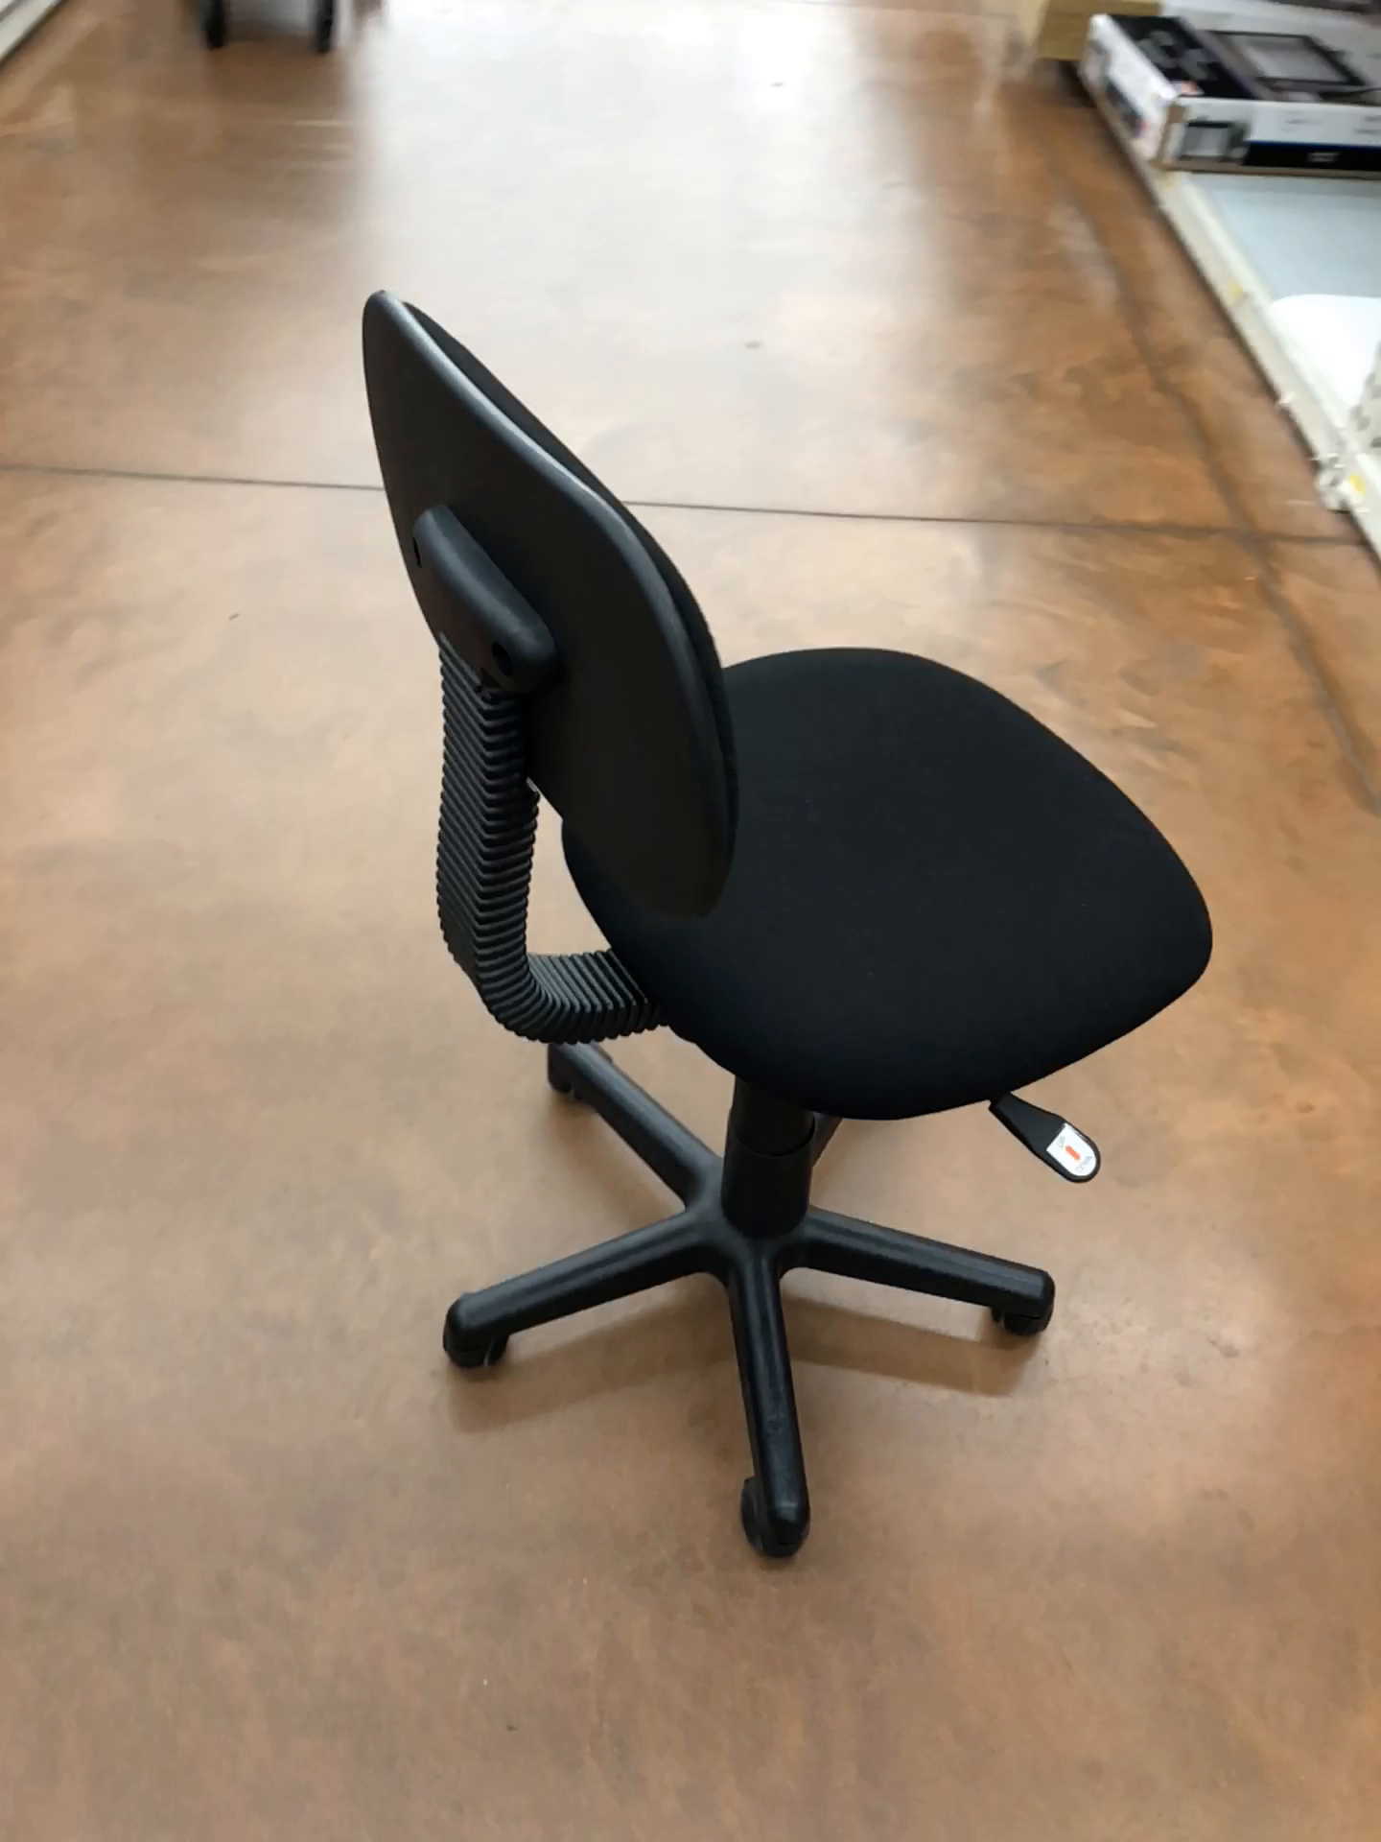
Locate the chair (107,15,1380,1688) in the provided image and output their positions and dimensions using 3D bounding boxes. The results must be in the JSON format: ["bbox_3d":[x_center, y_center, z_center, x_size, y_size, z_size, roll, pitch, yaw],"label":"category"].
[{"bbox_3d":[0.086,-0.077,1.083,0.661,0.797,0.672,-19,50,-23],"label":"chair"}]
